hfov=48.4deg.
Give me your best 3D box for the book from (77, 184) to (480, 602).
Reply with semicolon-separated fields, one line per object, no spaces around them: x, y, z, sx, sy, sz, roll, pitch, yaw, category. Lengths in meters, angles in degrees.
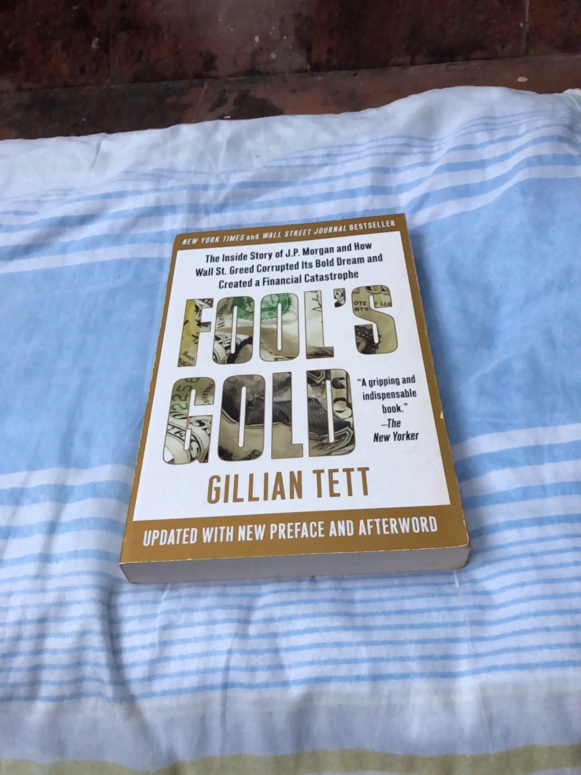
-0.005;-0.015;0.330;0.150;0.040;0.231;-4;49;5;book
